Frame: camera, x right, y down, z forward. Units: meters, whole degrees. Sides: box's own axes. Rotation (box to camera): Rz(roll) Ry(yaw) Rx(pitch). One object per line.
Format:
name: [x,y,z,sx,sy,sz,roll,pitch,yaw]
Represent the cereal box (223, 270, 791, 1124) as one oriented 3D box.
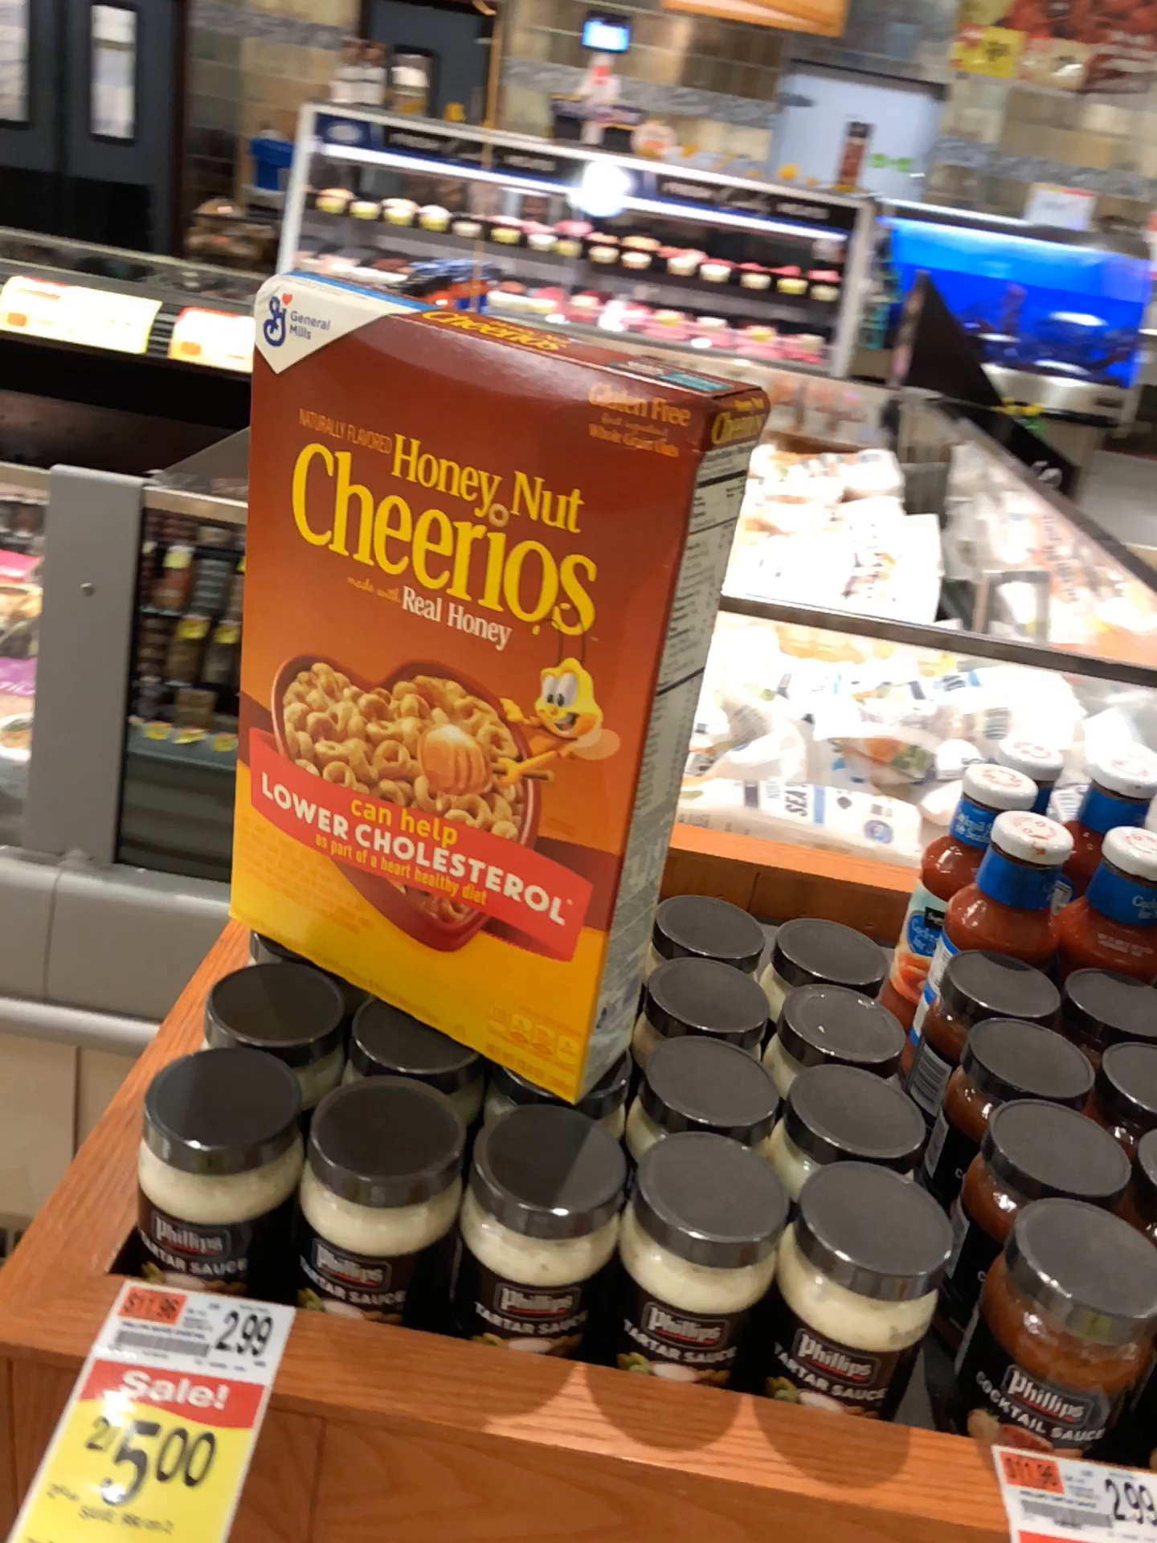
cereal box: [-0.047,-0.031,0.510,0.200,0.288,0.050,22,27,26]
